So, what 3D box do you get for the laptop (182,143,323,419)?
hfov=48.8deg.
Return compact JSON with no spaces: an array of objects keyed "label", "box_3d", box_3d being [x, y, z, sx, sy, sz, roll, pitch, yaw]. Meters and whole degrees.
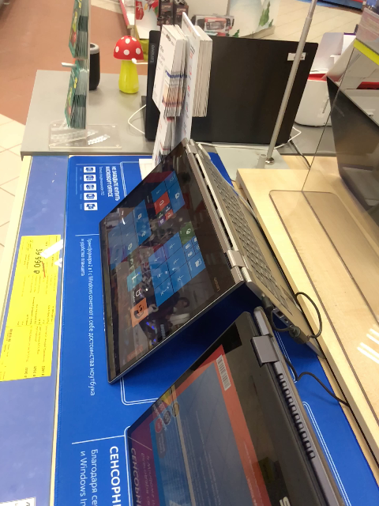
[{"label":"laptop","box_3d":[0.086,0.045,0.701,0.210,0.150,0.337,24,30,-29]}]
